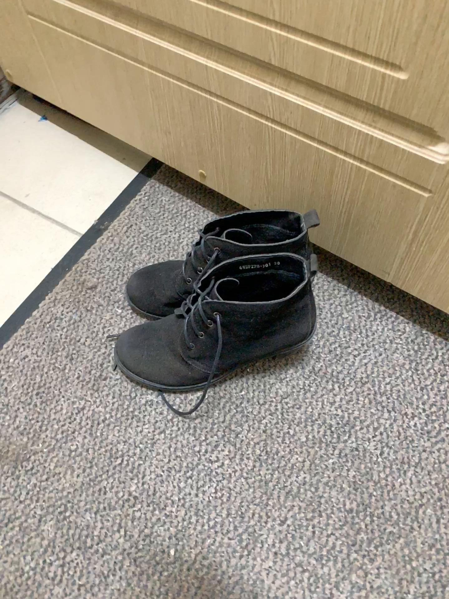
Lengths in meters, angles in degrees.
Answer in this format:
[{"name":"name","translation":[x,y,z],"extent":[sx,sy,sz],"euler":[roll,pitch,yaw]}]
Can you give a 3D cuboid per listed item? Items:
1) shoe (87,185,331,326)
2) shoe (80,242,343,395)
[{"name":"shoe","translation":[-0.011,-0.041,0.520],"extent":[0.230,0.160,0.080],"euler":[0,60,3]},{"name":"shoe","translation":[-0.011,0.029,0.489],"extent":[0.230,0.160,0.080],"euler":[-5,60,1]}]
